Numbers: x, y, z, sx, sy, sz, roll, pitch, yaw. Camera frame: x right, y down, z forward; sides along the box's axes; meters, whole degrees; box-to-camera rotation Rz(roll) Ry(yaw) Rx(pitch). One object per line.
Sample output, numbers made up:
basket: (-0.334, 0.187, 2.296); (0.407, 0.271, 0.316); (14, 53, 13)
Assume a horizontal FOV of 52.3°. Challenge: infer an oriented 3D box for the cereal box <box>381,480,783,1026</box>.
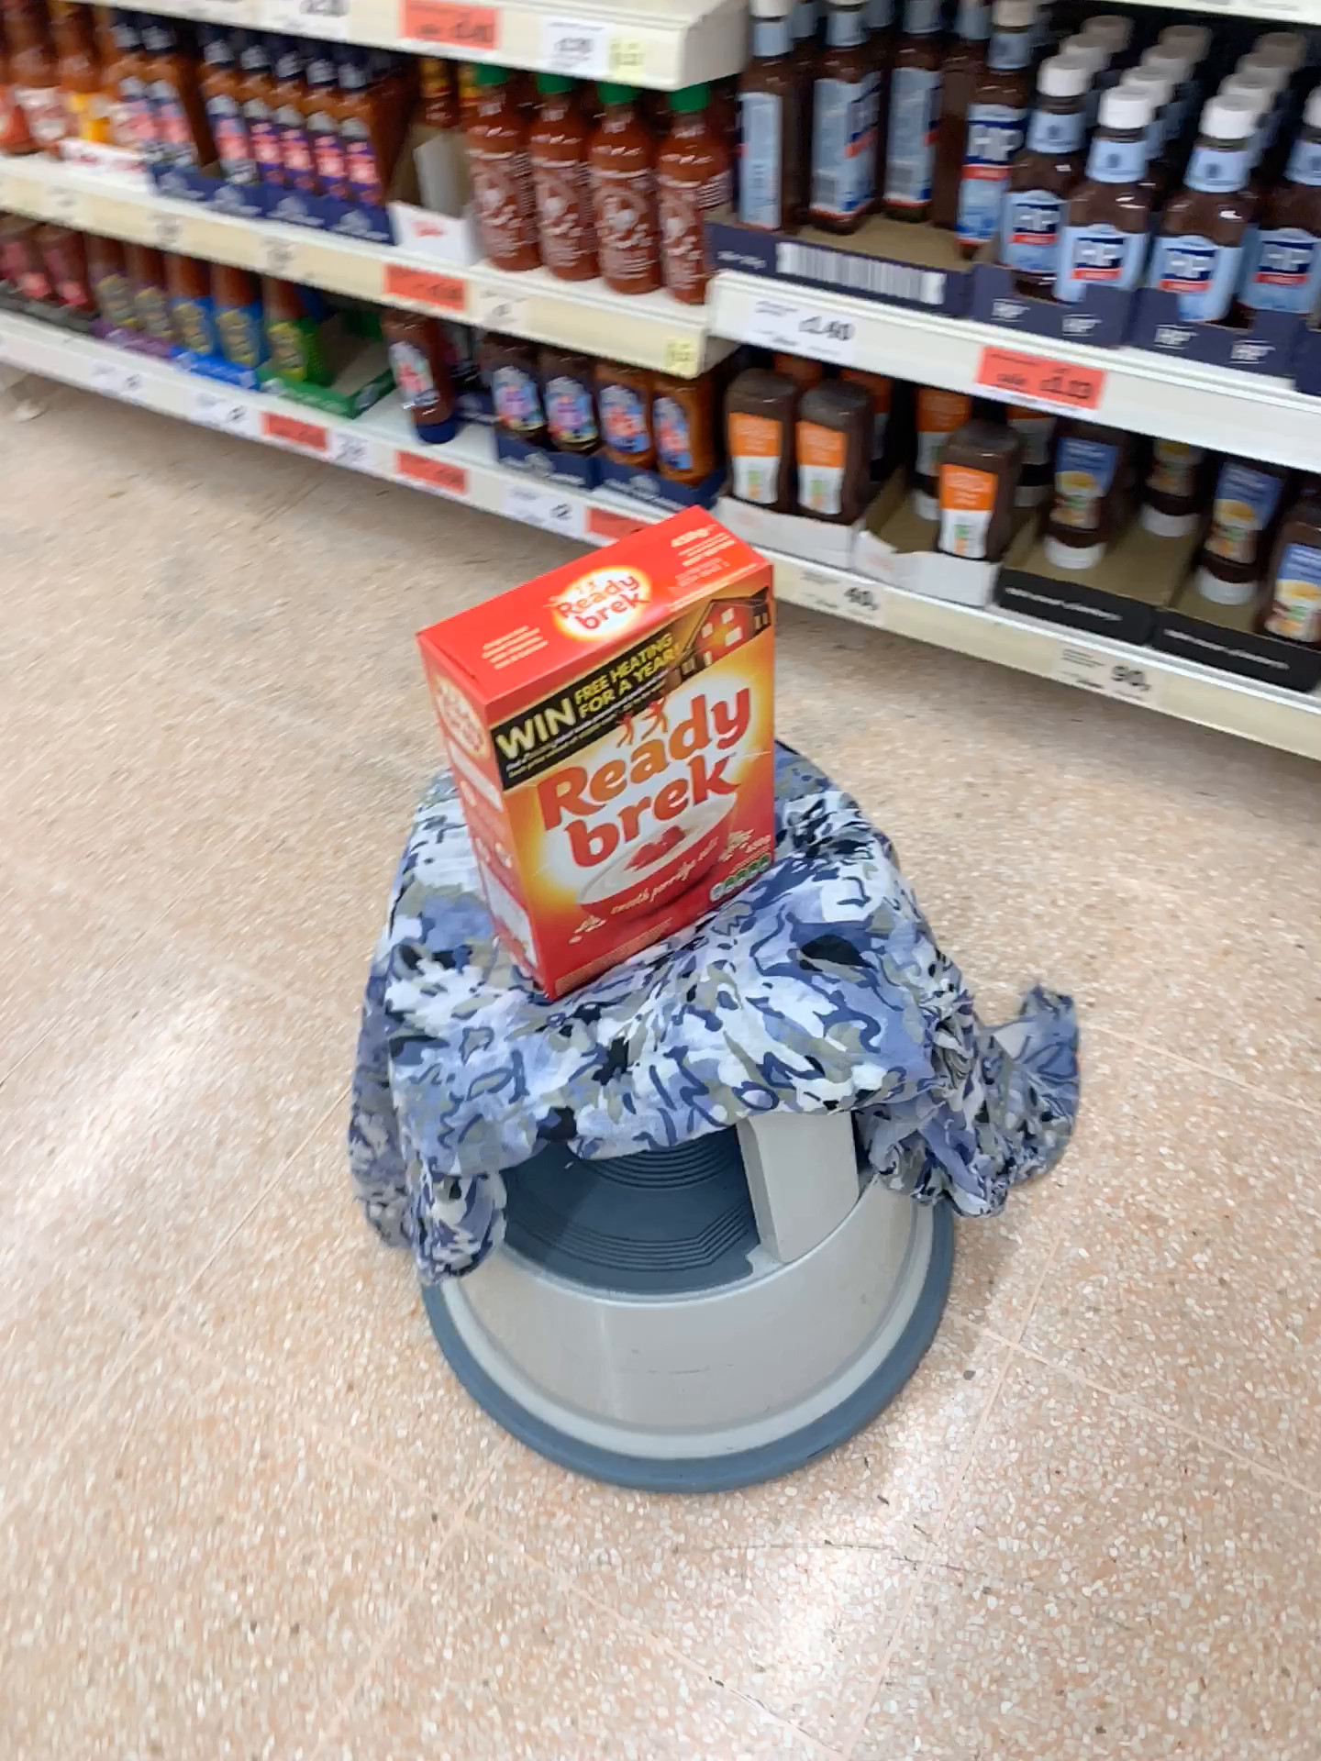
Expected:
cereal box: (-0.025, -0.055, 0.685); (0.170, 0.238, 0.060); (-29, 53, -18)
